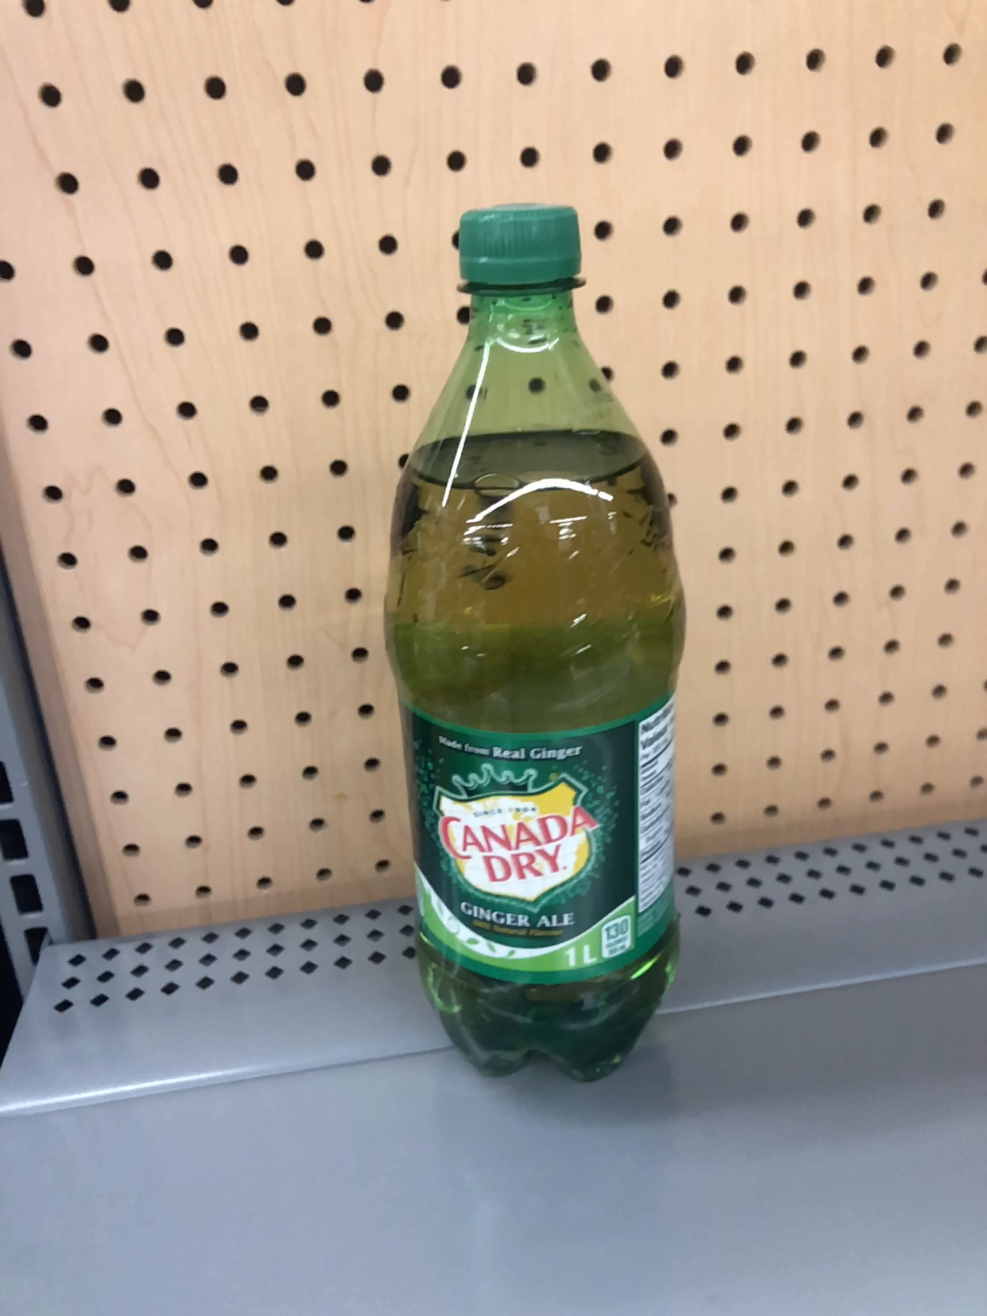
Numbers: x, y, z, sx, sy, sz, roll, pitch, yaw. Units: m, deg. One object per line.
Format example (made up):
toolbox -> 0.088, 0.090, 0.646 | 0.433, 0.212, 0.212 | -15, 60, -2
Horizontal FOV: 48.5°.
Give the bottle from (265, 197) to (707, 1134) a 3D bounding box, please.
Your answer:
bottle -> 0.011, 0.004, 0.320 | 0.090, 0.248, 0.090 | -3, 24, 1
